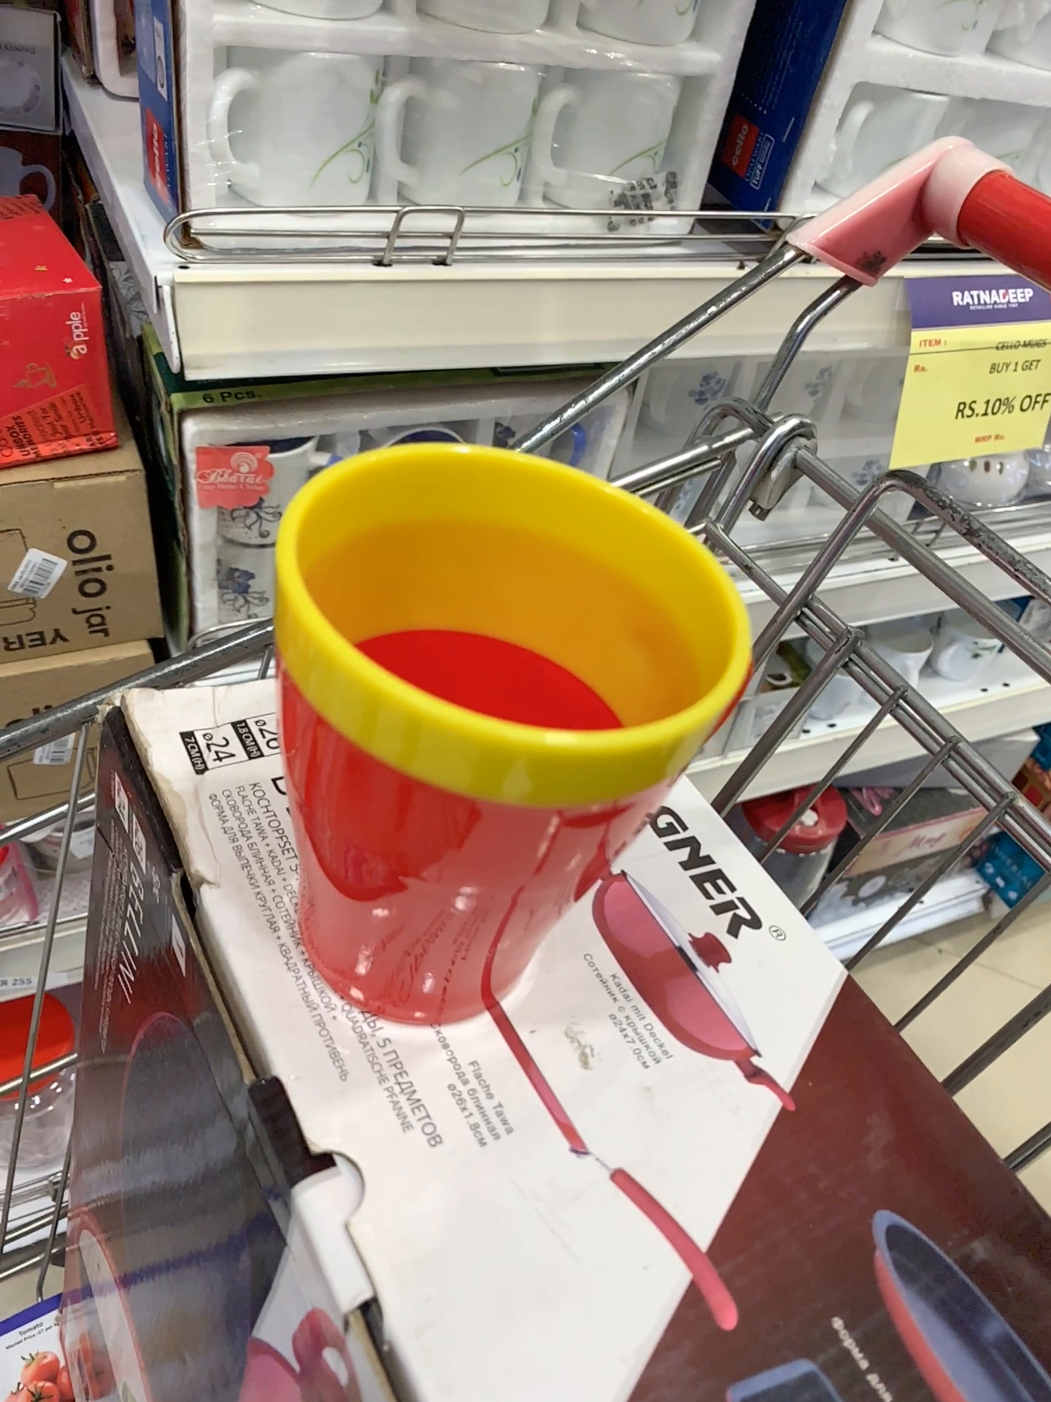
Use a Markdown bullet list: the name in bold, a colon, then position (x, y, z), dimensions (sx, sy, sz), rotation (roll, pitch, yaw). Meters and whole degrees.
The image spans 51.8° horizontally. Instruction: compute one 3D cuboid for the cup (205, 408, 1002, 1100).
- **cup**: position (0.006, 0.003, 0.207), dimensions (0.110, 0.080, 0.080), rotation (-11, 48, -29)
